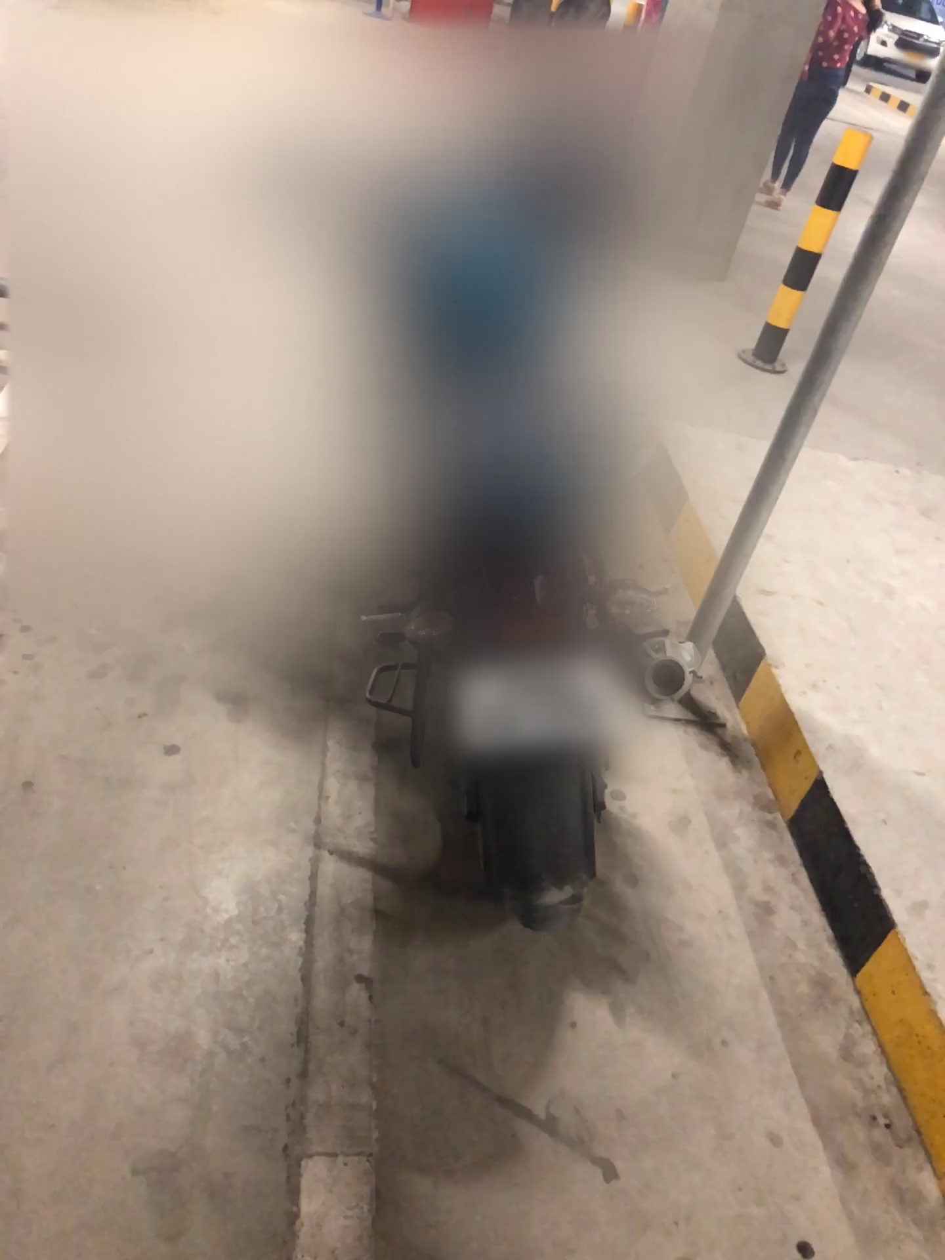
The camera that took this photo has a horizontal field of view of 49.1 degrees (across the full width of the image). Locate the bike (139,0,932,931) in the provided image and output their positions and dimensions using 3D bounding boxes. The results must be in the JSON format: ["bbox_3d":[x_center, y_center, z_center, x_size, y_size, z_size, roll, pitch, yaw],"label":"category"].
[{"bbox_3d":[-0.111,-0.384,1.820,0.767,0.951,1.421,5,36,-15],"label":"bike"}]
